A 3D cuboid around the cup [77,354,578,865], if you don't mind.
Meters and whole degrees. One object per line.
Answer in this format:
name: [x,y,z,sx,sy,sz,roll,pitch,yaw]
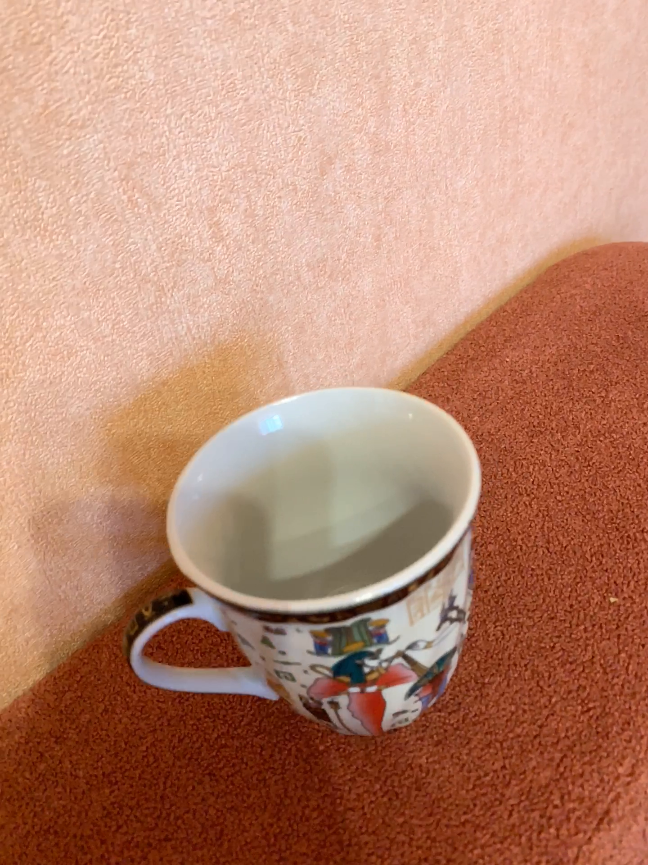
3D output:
cup: [0.001,0.052,0.212,0.115,0.087,0.086,-23,41,-11]
